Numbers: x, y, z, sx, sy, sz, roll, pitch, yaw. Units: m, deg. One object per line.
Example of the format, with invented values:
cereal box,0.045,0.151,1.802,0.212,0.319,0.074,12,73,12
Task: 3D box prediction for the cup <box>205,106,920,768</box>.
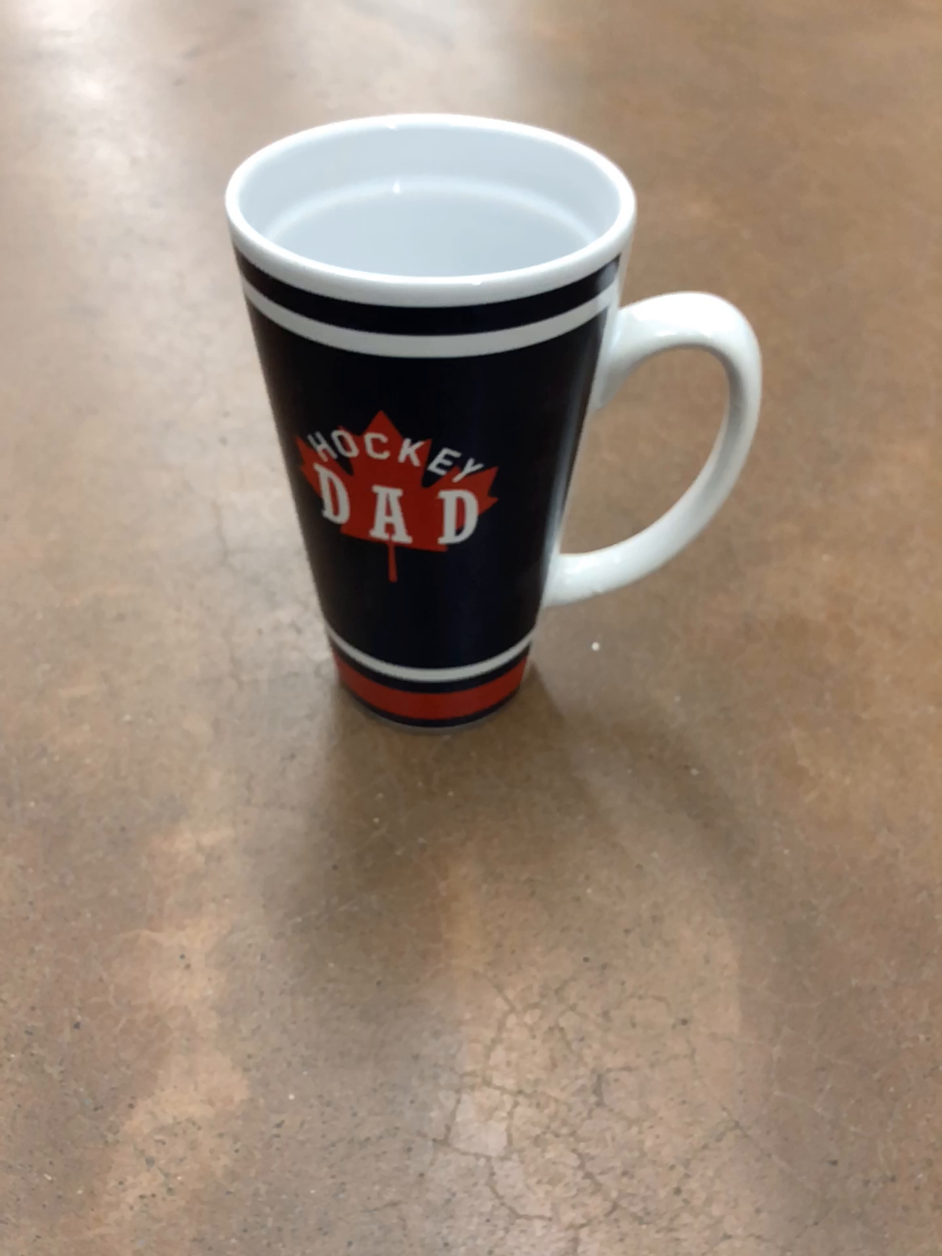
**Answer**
cup,0.012,-0.046,0.269,0.130,0.130,0.090,-4,45,-5
